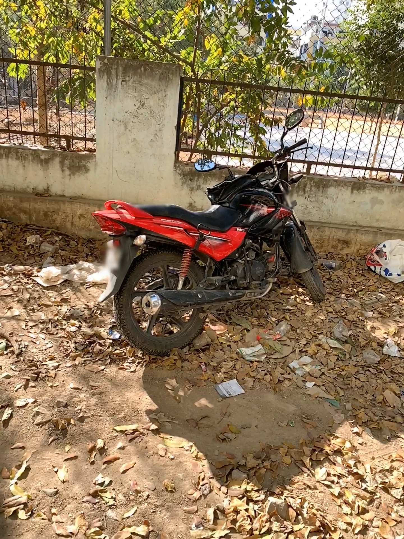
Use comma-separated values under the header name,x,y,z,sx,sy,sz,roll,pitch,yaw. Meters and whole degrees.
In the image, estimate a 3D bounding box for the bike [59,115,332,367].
name,x,y,z,sx,sy,sz,roll,pitch,yaw
bike,-0.056,-0.309,2.527,1.293,1.067,0.824,-17,32,-36
